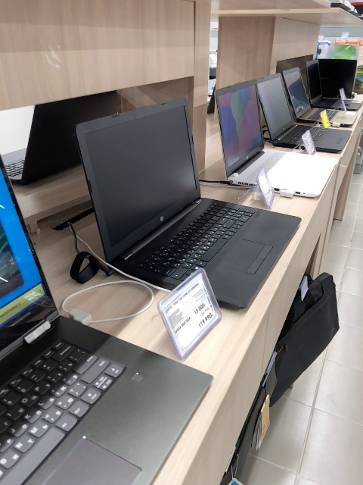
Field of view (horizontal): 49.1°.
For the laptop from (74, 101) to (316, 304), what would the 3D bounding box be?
[{"bbox_3d":[0.048,-0.114,0.751,0.297,0.222,0.359,15,30,24],"label":"laptop"}]
